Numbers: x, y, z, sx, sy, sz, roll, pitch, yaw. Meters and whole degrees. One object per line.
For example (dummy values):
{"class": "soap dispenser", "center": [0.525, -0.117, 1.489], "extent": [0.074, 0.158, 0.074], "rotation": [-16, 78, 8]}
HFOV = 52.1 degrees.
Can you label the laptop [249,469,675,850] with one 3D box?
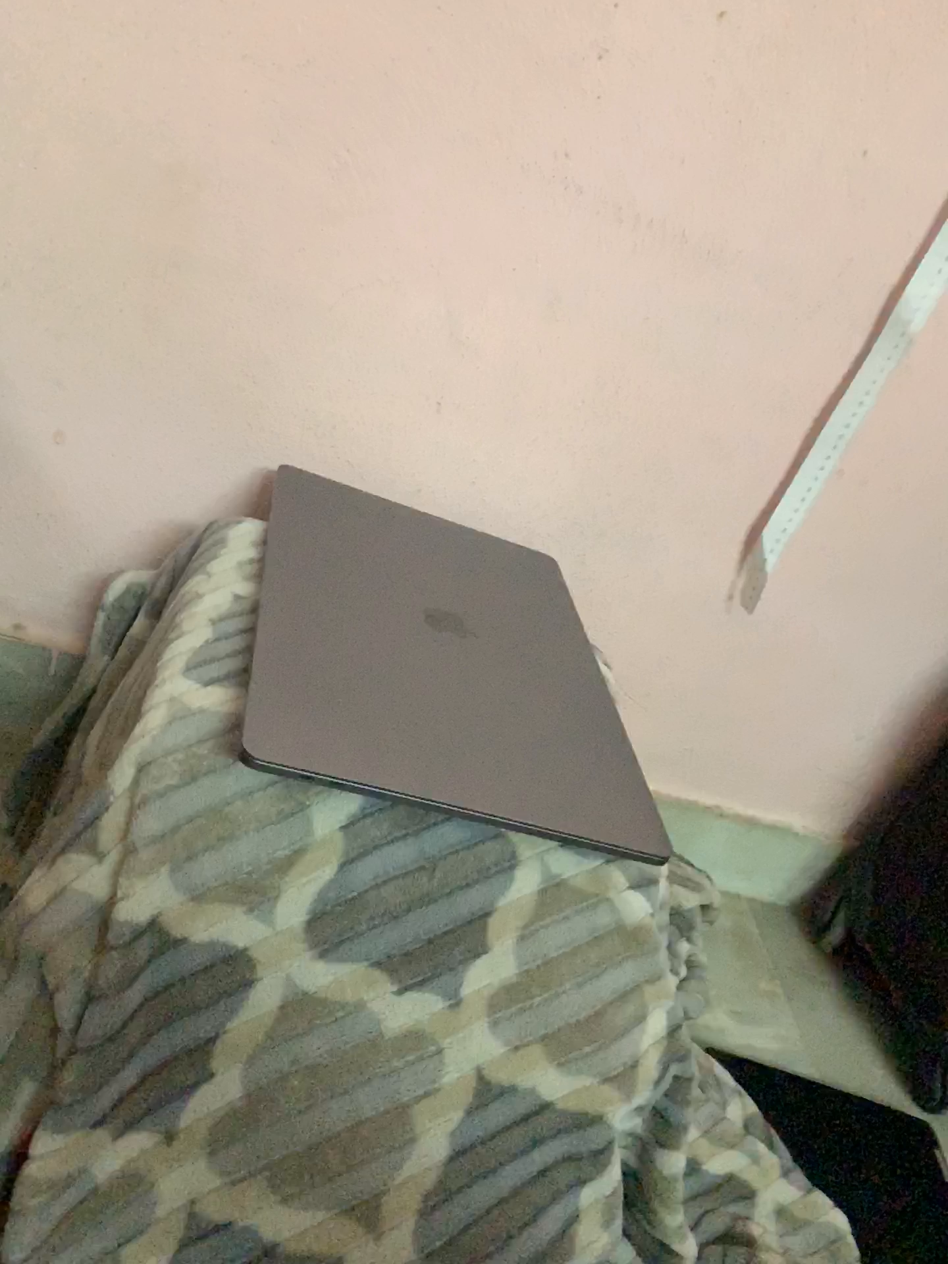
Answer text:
{"class": "laptop", "center": [-0.018, -0.003, 0.619], "extent": [0.228, 0.002, 0.327], "rotation": [16, 29, -16]}
